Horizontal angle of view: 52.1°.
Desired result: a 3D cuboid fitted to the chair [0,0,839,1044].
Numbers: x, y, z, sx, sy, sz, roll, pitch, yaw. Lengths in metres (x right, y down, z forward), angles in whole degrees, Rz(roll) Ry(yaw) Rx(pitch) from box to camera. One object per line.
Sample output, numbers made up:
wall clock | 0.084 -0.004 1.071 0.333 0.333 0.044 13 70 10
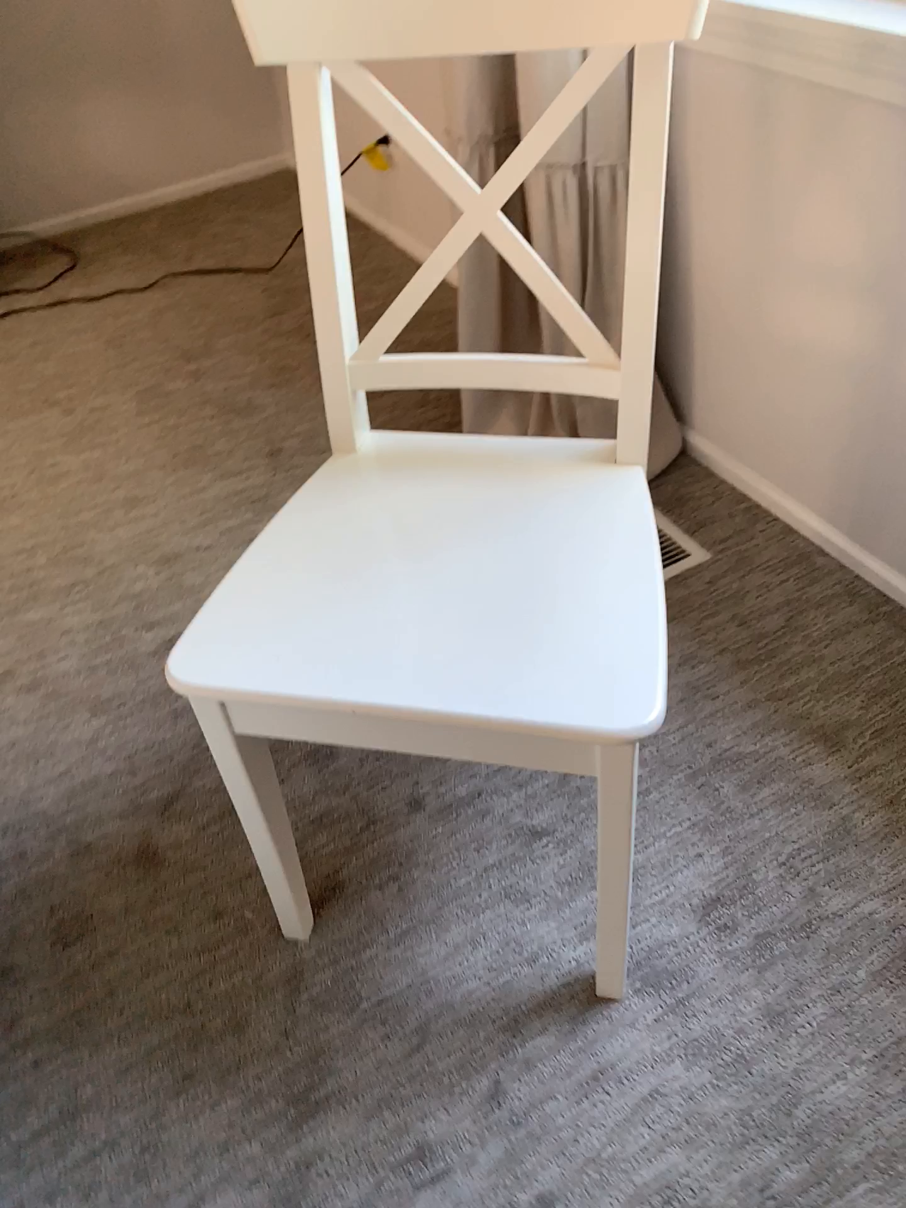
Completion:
chair | -0.042 -0.100 0.824 0.571 0.855 0.482 6 43 15
